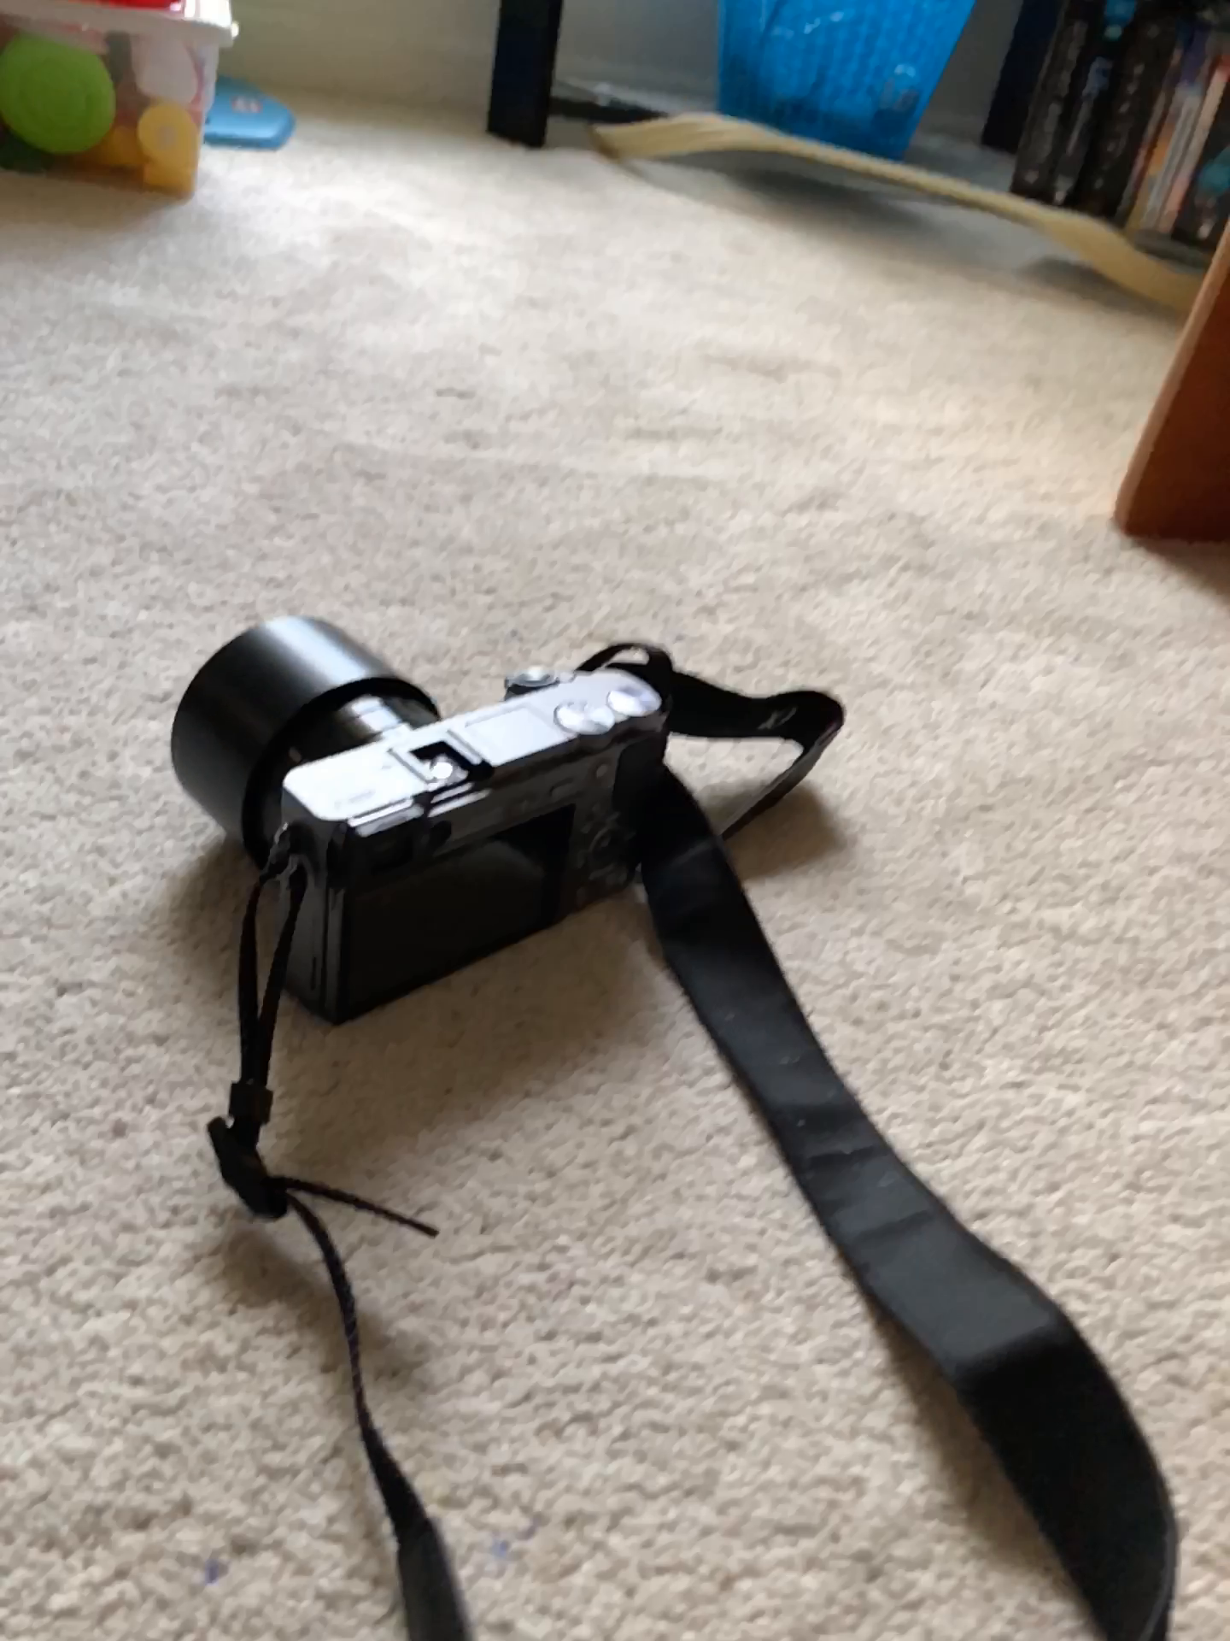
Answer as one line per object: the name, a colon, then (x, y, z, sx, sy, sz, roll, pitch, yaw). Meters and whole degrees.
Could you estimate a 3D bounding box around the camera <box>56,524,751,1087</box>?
camera: (-0.056, -0.015, 0.370, 0.140, 0.070, 0.110, -23, 47, -40)
